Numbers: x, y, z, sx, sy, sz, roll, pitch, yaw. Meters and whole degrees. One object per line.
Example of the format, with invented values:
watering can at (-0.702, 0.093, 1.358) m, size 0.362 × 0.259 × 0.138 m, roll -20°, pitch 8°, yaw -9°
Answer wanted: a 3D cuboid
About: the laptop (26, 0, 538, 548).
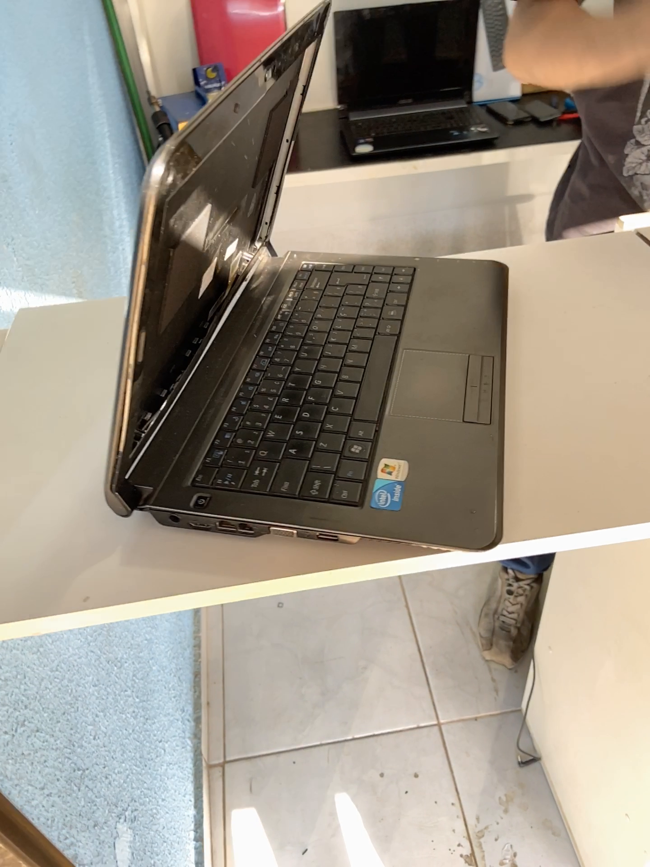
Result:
laptop at (0.019, -0.133, 0.445) m, size 0.205 × 0.206 × 0.332 m, roll 5°, pitch 42°, yaw 12°
